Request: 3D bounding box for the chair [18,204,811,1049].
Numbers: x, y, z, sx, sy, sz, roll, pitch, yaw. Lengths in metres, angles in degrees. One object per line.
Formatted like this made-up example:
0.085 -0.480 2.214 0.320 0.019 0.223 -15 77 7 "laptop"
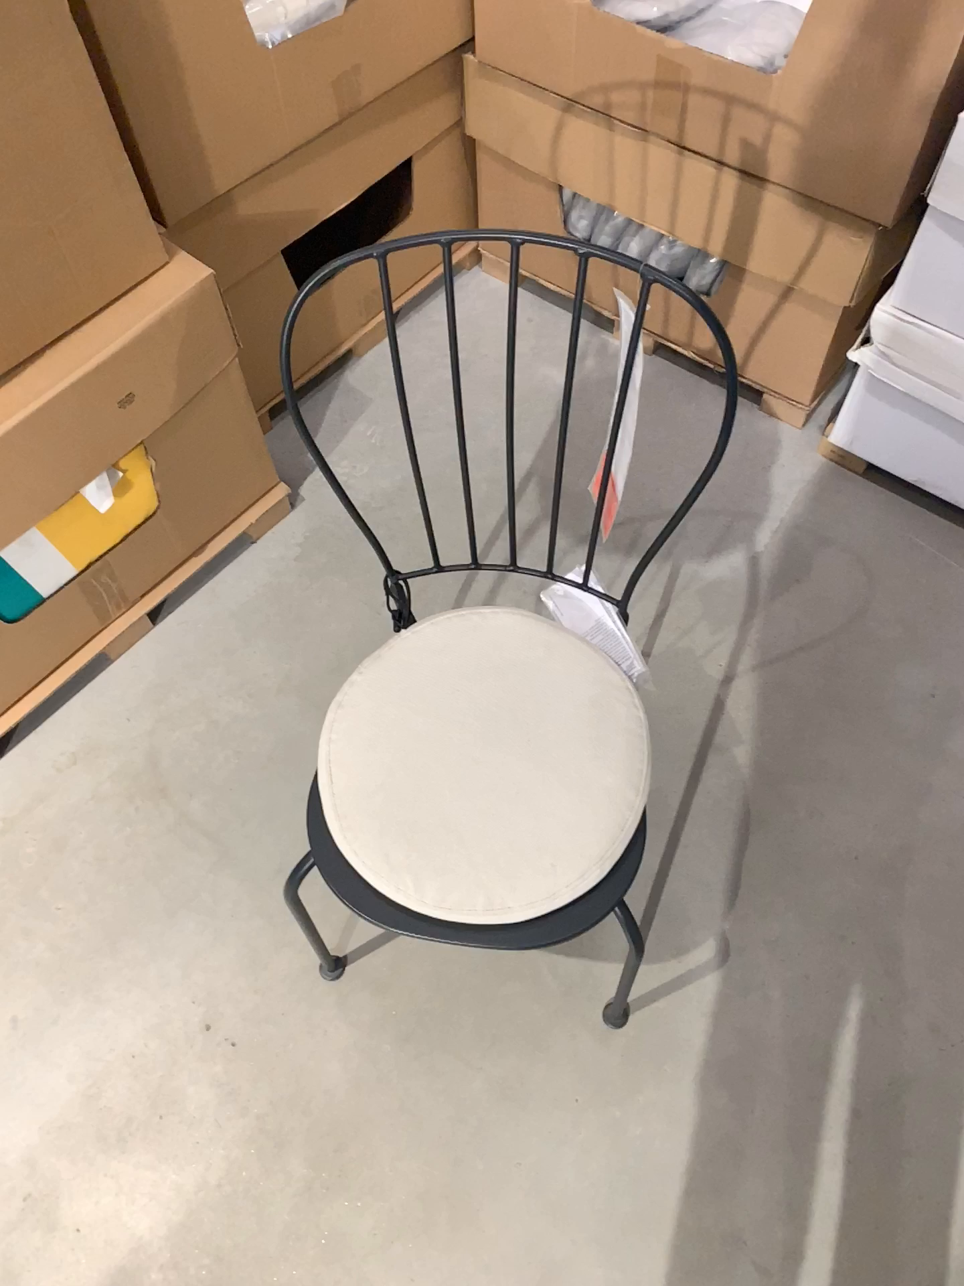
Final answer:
0.001 0.070 1.073 0.480 0.819 0.521 8 61 6 "chair"
